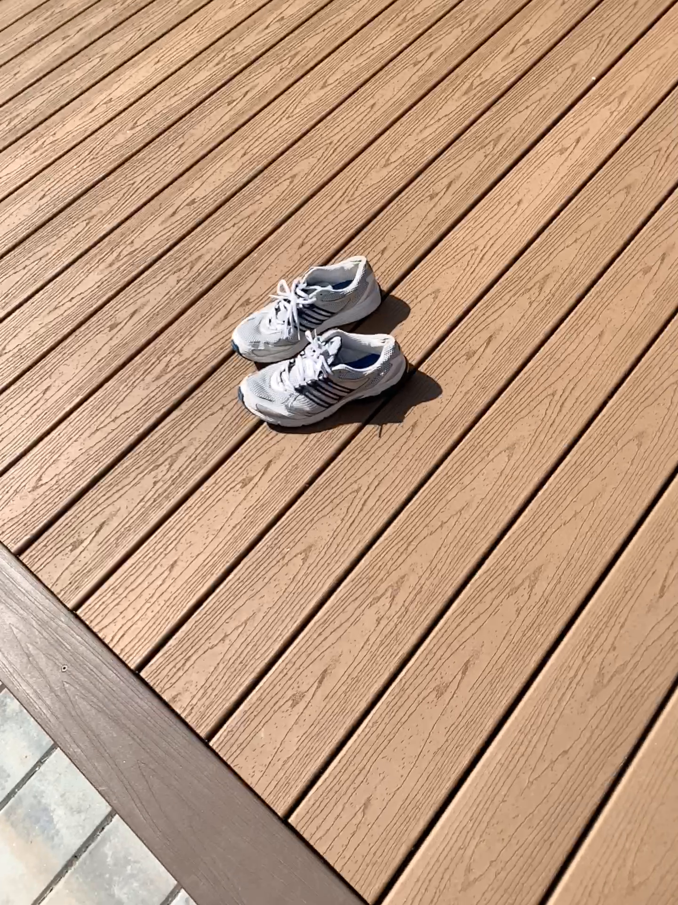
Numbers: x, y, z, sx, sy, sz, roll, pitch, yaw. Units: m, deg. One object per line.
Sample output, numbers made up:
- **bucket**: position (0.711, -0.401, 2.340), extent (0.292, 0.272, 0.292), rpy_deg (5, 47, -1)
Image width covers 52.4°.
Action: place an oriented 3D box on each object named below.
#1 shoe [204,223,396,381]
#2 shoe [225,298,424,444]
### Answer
- **shoe**: position (-0.063, -0.262, 1.198), extent (0.300, 0.100, 0.120), rpy_deg (-28, 61, -8)
- **shoe**: position (-0.021, -0.131, 1.121), extent (0.290, 0.100, 0.120), rpy_deg (-18, 60, -2)
